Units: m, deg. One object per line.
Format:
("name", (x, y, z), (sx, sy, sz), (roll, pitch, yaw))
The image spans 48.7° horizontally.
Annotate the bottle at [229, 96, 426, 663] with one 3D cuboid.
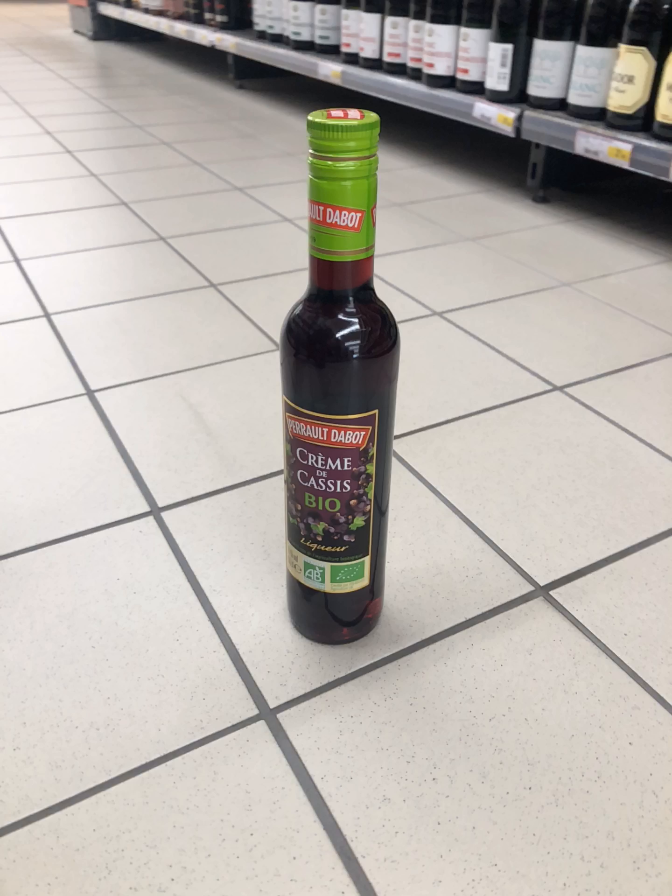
("bottle", (-0.002, -0.020, 0.389), (0.070, 0.288, 0.070), (1, 32, 0))
